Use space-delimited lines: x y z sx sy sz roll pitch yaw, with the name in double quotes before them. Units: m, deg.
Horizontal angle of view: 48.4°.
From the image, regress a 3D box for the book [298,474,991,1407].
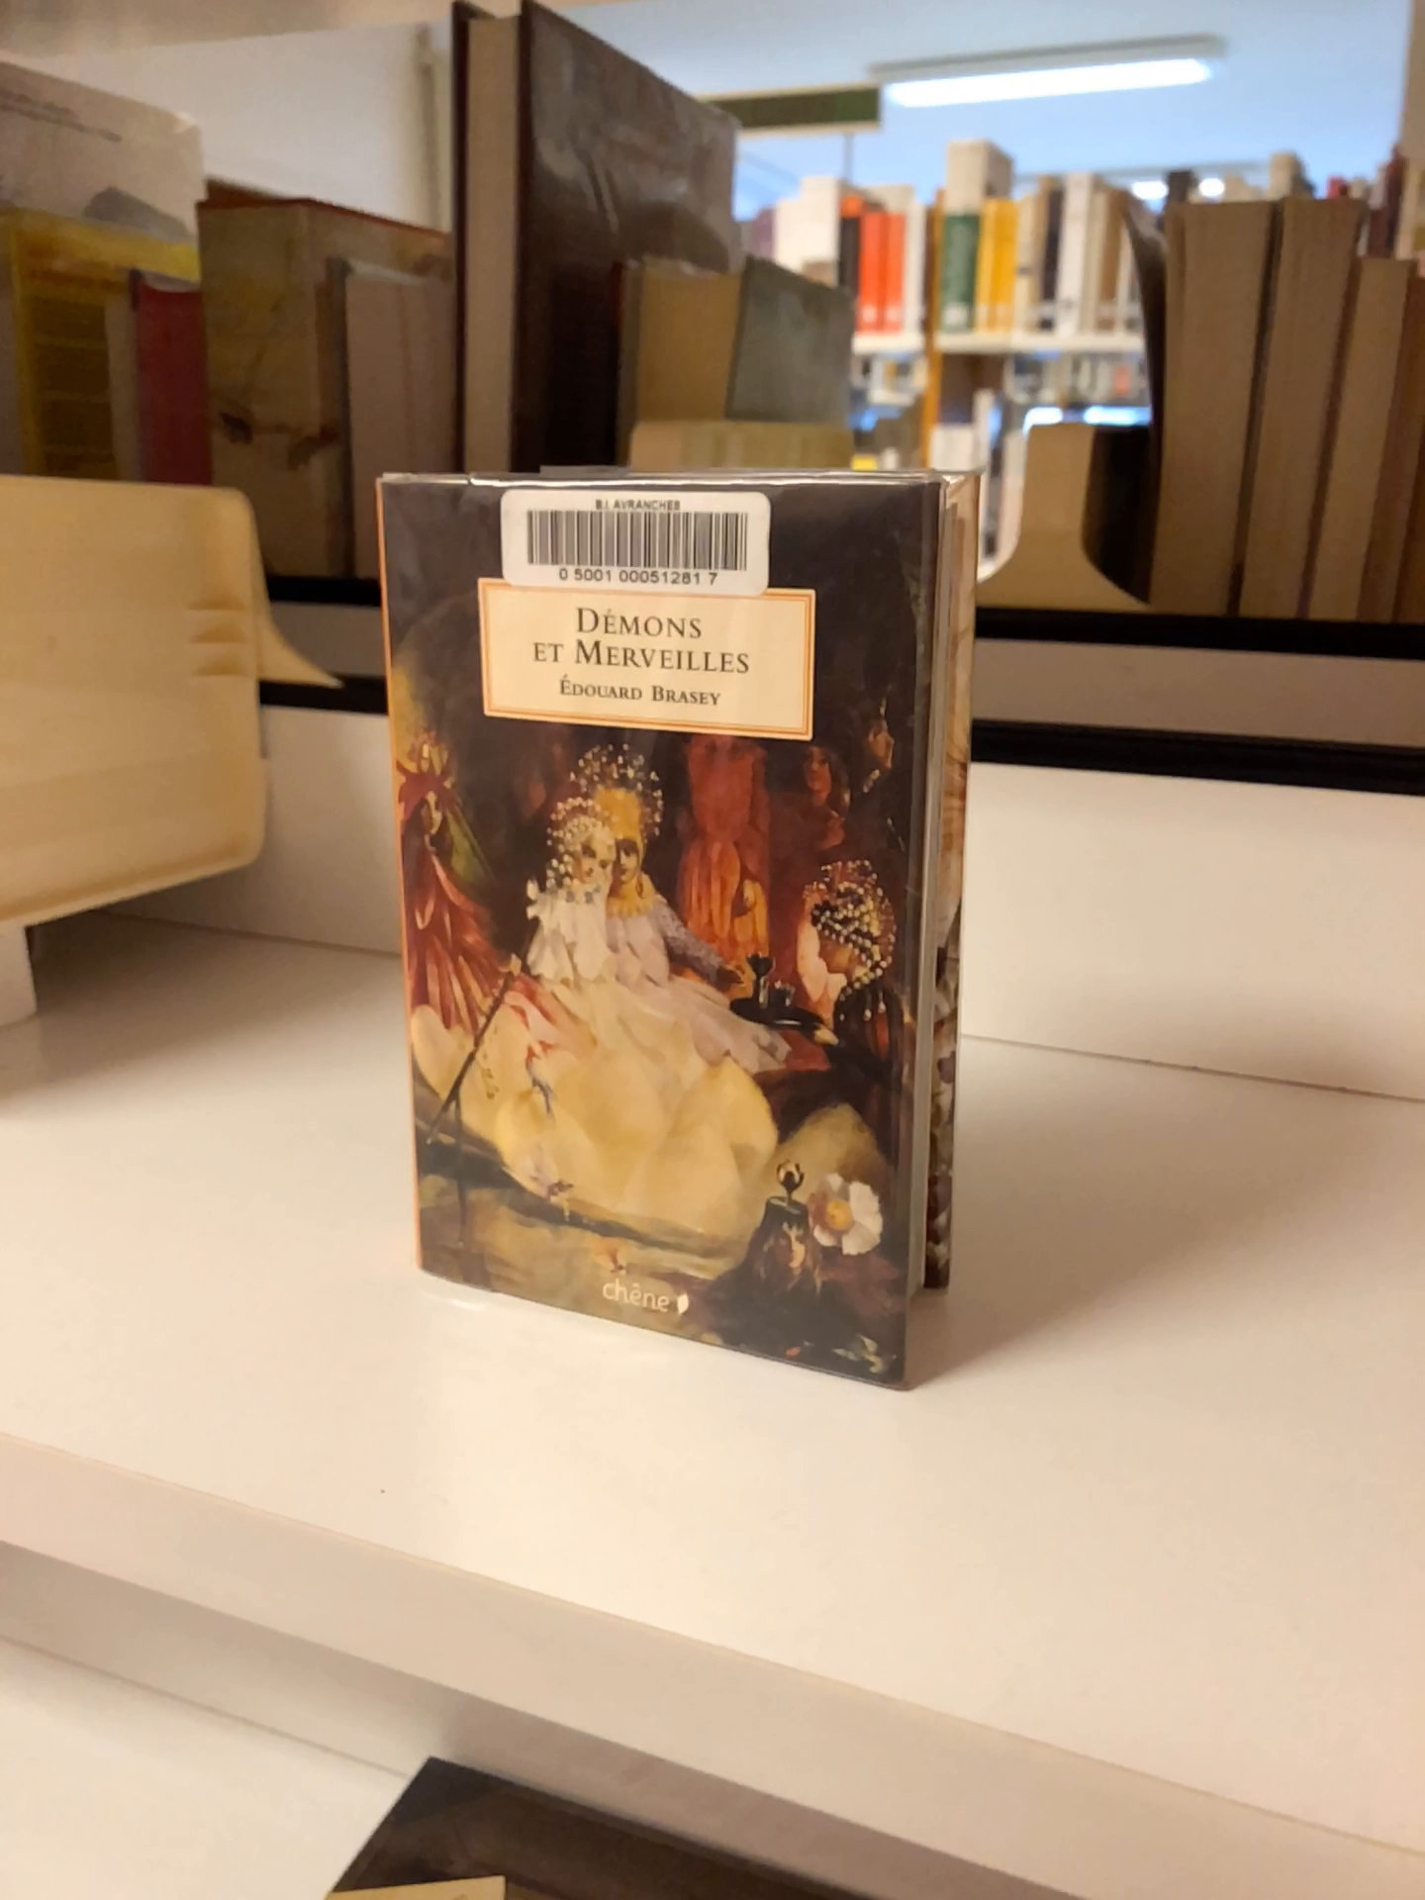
"book" -0.014 -0.008 0.300 0.114 0.155 0.047 8 16 24
